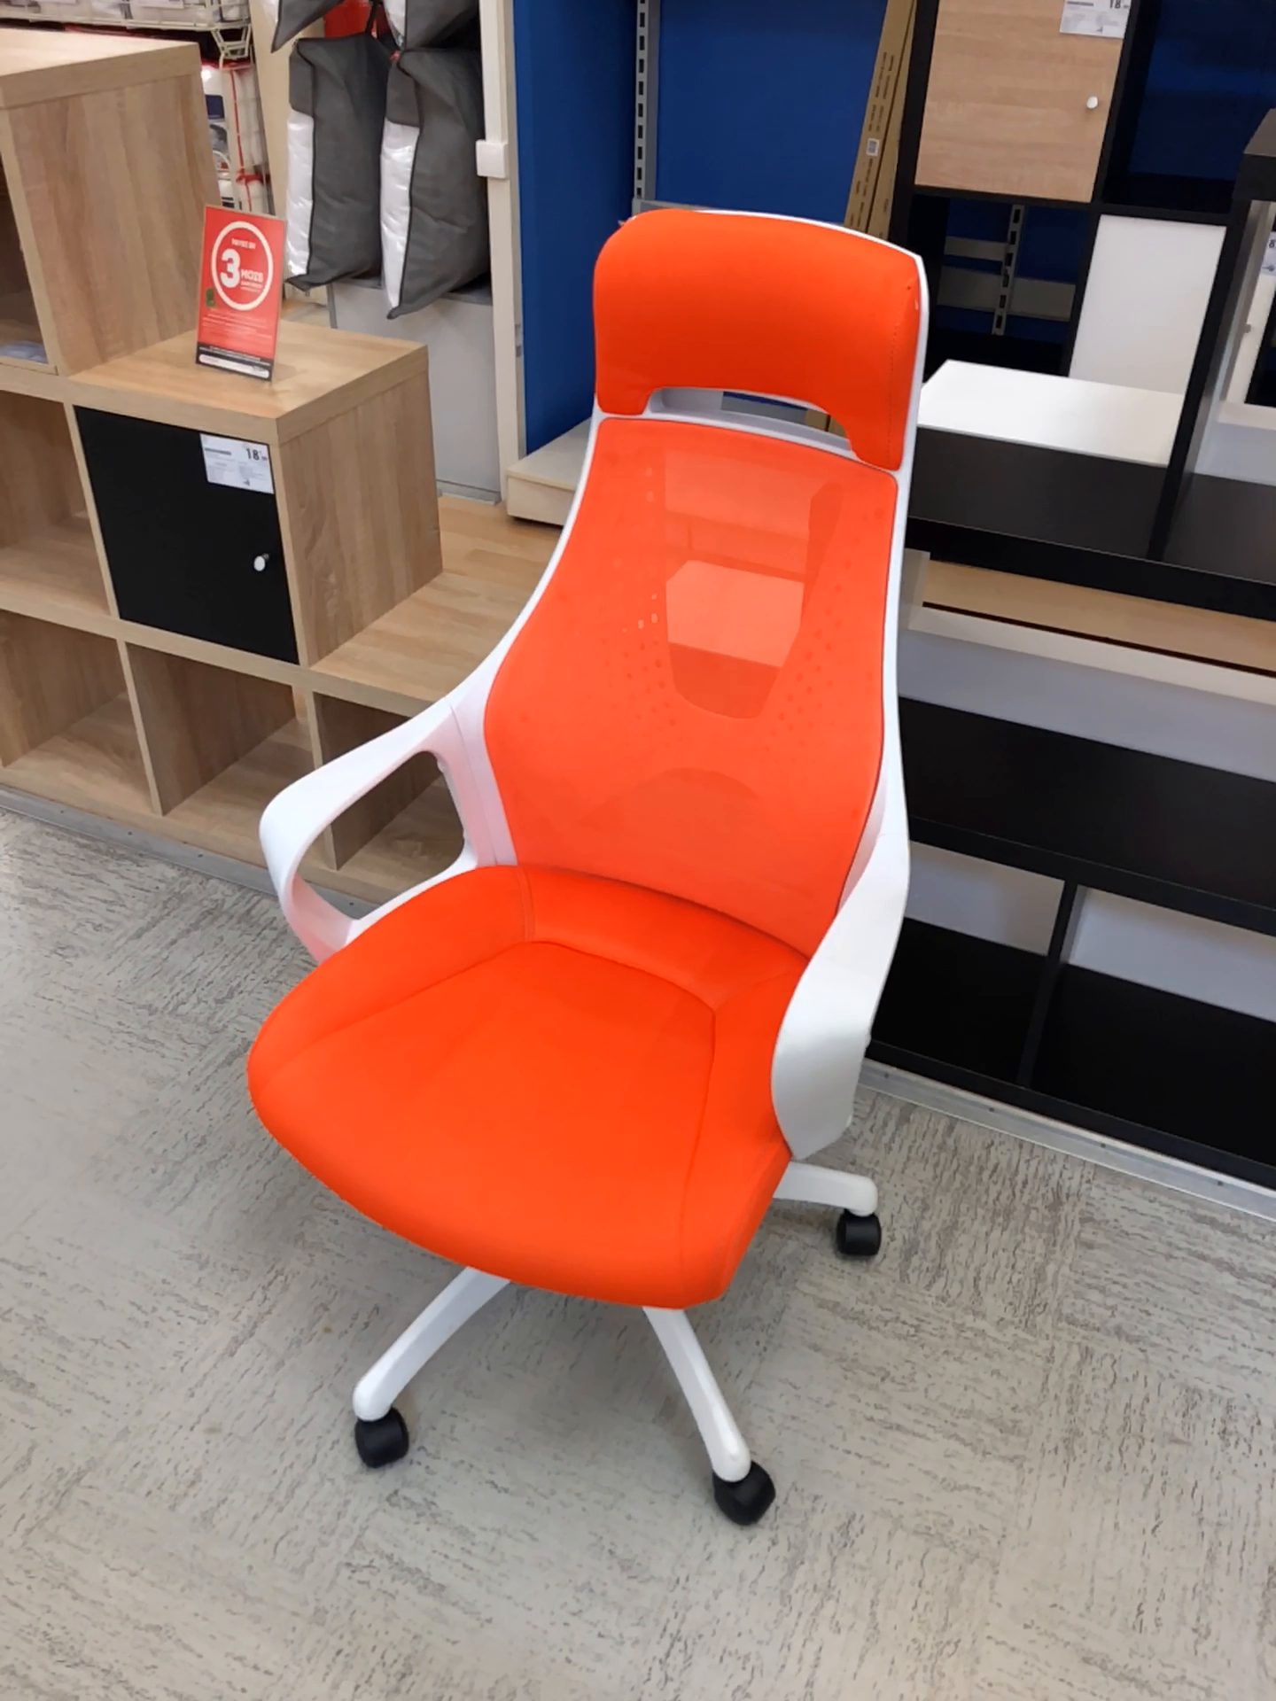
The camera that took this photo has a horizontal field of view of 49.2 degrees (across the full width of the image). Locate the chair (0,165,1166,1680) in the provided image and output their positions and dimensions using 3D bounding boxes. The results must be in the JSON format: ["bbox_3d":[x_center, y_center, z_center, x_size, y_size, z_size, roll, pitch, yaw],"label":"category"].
[{"bbox_3d":[-0.039,0.014,1.329,0.680,1.053,0.755,18,38,22],"label":"chair"}]
